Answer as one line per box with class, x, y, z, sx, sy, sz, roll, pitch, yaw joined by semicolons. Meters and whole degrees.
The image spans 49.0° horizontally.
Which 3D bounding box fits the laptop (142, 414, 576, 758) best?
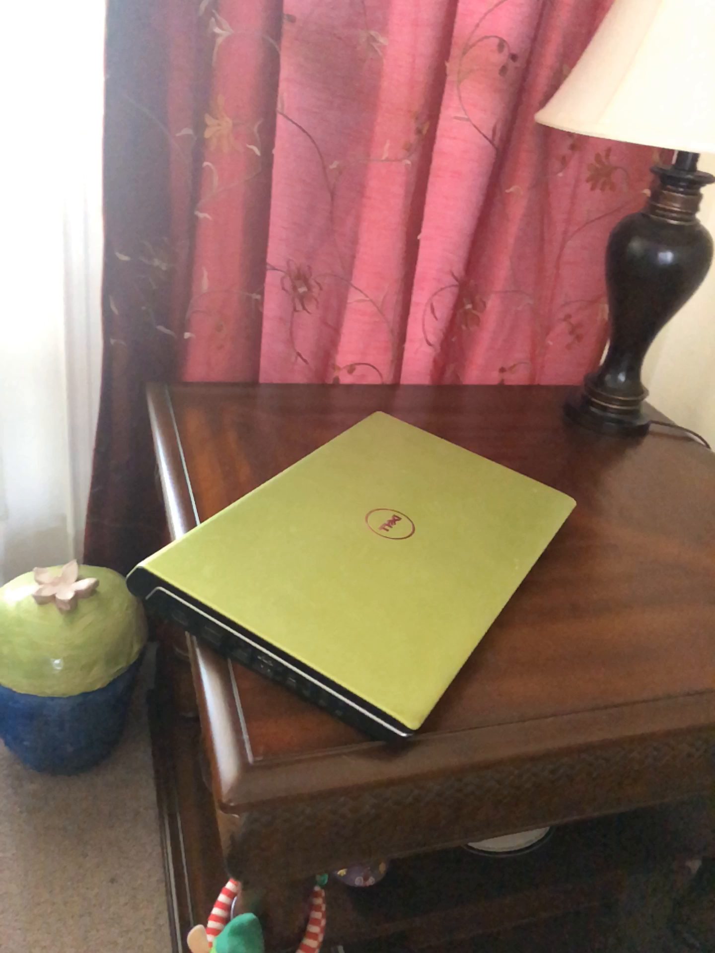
laptop;0.030;0.059;0.708;0.237;0.020;0.379;27;34;20
